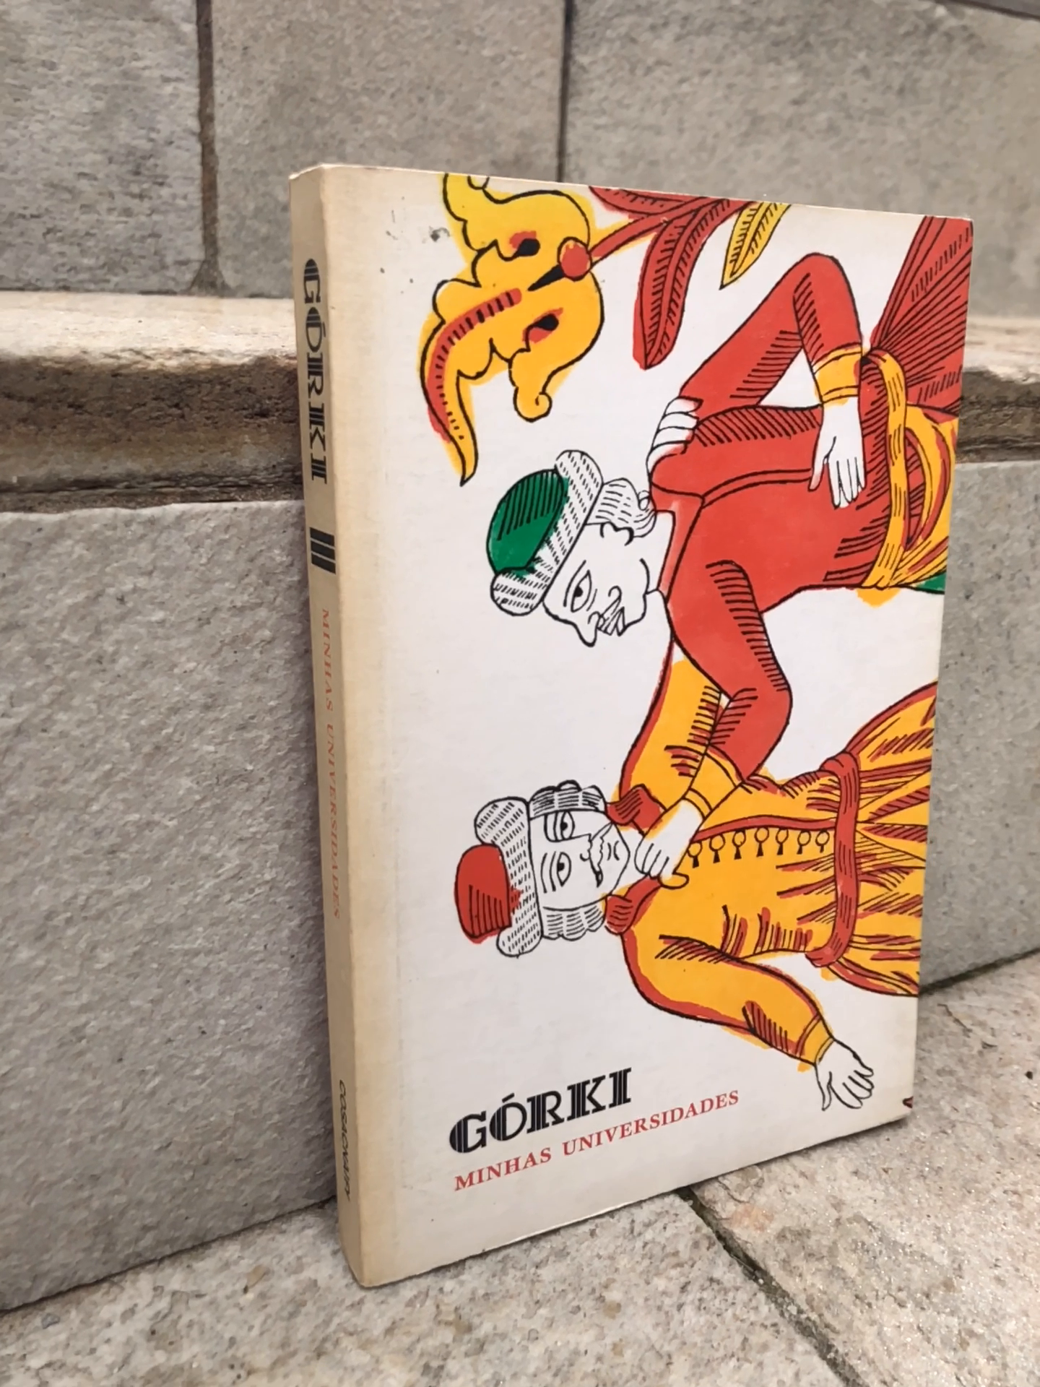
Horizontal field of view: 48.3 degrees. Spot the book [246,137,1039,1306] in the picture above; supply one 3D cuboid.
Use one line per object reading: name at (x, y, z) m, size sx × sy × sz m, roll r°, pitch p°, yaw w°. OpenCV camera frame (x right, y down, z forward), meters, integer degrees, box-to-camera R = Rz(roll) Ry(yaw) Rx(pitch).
book at (0.028, 0.005, 0.222) m, size 0.142 × 0.189 × 0.030 m, roll -7°, pitch 16°, yaw -24°
